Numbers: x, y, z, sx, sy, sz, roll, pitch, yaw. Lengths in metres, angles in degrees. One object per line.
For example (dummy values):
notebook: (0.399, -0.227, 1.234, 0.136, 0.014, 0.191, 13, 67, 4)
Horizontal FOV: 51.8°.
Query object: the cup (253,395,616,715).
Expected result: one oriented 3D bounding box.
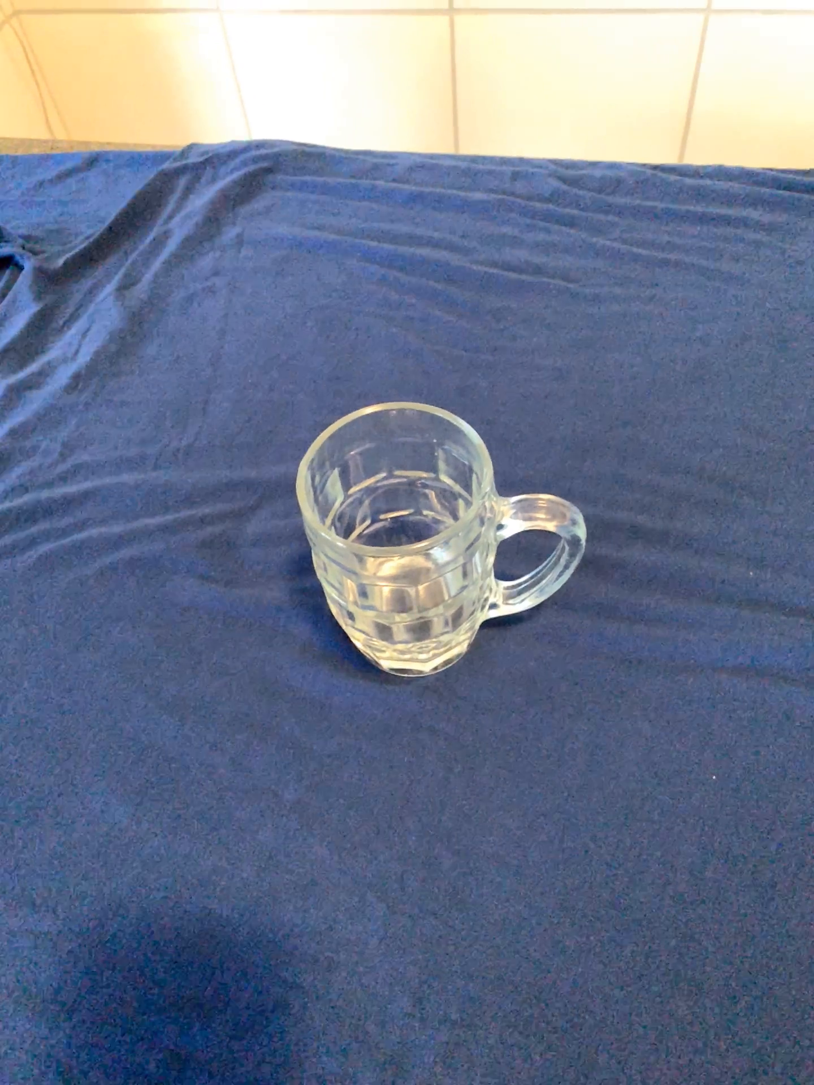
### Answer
cup: (0.015, 0.008, 0.345, 0.120, 0.110, 0.080, 1, 54, 6)
